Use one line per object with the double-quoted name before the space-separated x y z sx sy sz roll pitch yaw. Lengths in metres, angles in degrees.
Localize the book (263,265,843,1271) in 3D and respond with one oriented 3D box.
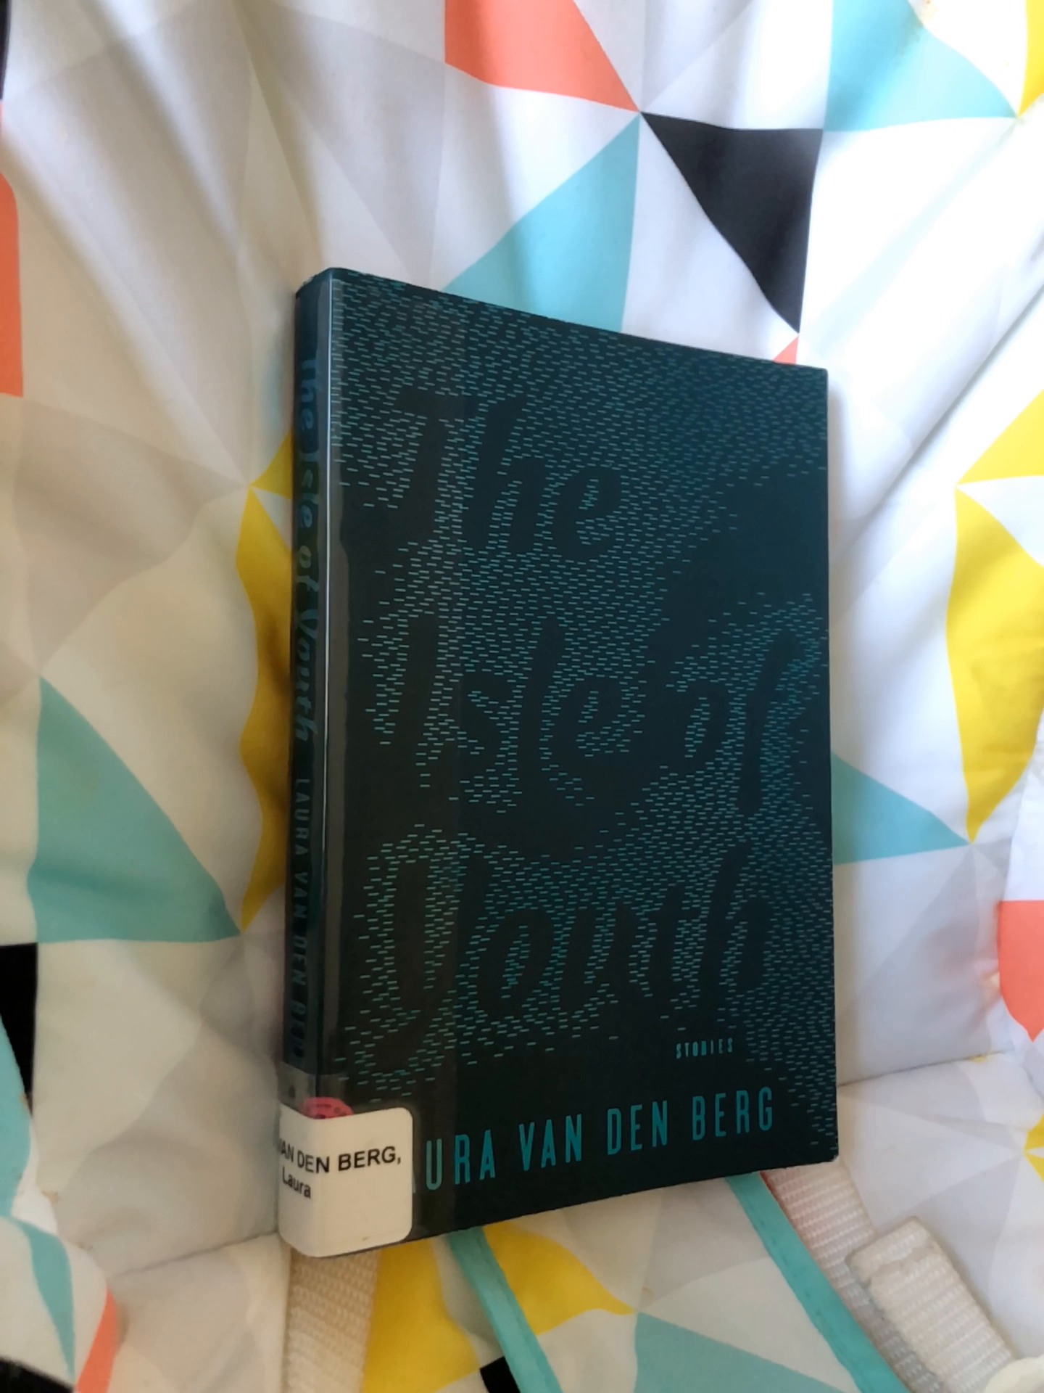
"book" 0.011 0.013 0.252 0.124 0.032 0.180 1 88 -28
